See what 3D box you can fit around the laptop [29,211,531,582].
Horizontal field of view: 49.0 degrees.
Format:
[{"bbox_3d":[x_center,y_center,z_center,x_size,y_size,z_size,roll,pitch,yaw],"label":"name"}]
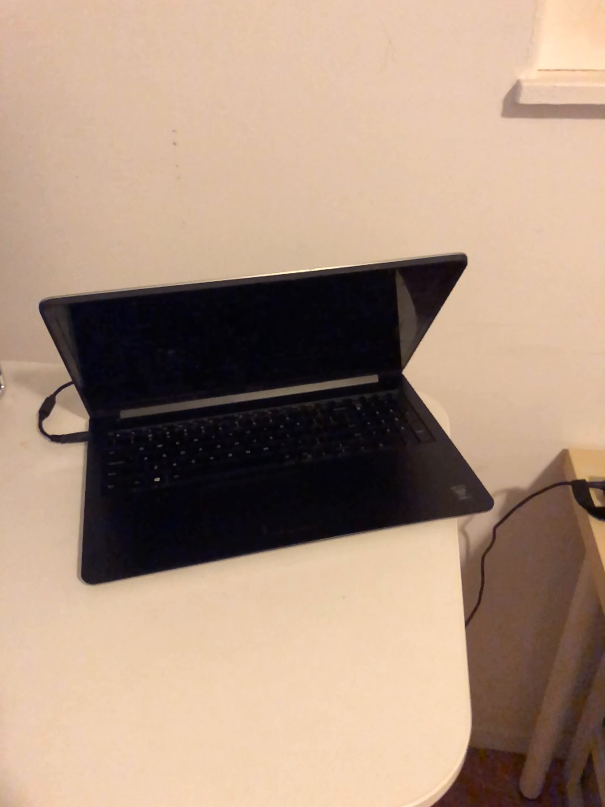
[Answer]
[{"bbox_3d":[-0.033,-0.028,0.643,0.373,0.207,0.252,-8,34,-10],"label":"laptop"}]
